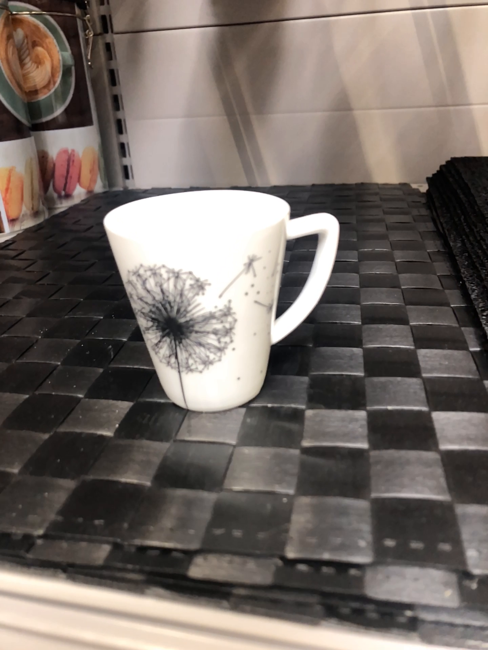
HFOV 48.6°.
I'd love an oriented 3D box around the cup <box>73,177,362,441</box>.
[{"bbox_3d":[-0.011,-0.010,0.187,0.081,0.060,0.057,-10,32,-14],"label":"cup"}]
